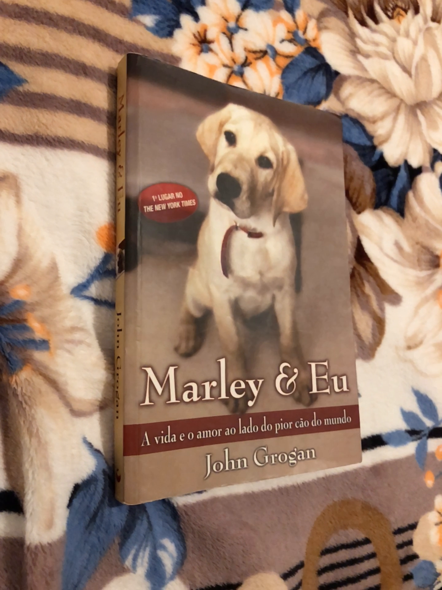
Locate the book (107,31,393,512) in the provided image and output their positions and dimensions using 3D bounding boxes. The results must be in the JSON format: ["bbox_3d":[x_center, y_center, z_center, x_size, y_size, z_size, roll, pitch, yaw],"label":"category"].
[{"bbox_3d":[0.021,-0.013,0.293,0.171,0.040,0.230,3,82,-32],"label":"book"}]
